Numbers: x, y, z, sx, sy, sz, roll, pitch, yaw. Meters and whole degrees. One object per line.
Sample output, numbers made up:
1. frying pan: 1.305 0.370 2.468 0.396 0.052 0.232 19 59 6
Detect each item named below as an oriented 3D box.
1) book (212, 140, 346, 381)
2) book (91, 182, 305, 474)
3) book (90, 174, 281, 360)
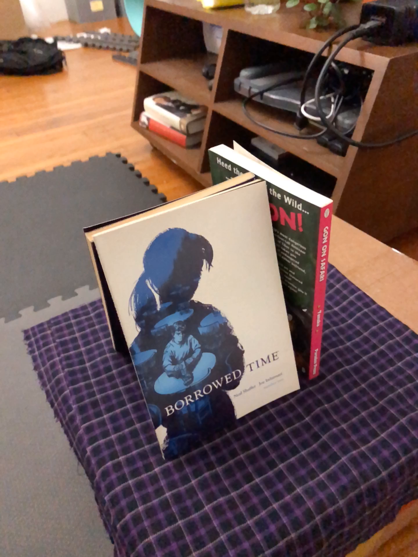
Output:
1. book: 0.063 -0.014 0.421 0.020 0.189 0.141 -29 44 -17
2. book: 0.005 0.041 0.365 0.140 0.199 0.010 -22 23 -22
3. book: -0.021 0.001 0.421 0.150 0.199 0.010 -21 62 -18
